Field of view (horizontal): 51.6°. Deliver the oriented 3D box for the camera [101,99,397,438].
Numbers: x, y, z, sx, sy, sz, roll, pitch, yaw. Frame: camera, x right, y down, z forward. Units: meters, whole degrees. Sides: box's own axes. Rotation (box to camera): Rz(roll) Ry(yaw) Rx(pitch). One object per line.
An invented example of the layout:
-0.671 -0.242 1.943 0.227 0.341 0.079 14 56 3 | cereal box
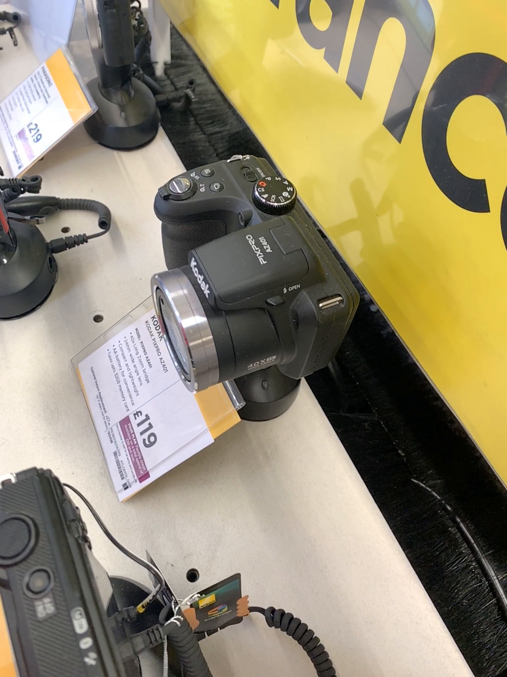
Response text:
-0.011 -0.039 0.284 0.090 0.099 0.131 -20 61 -18 | camera
